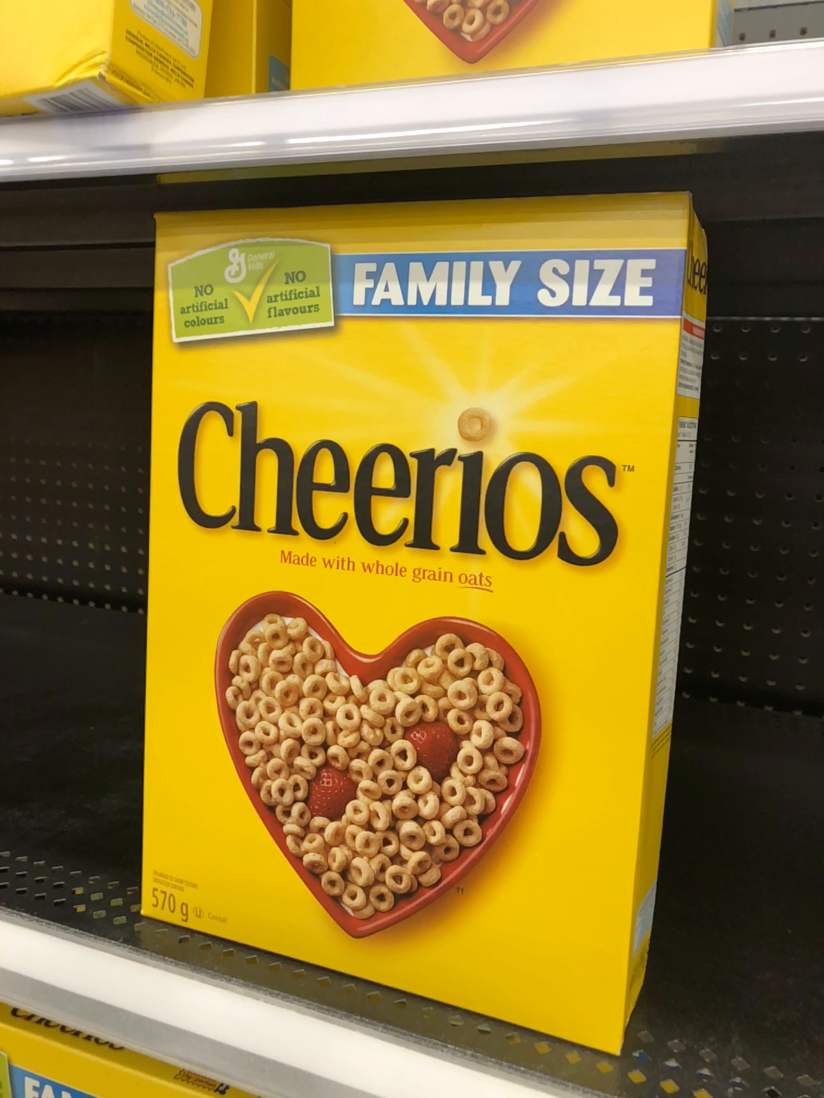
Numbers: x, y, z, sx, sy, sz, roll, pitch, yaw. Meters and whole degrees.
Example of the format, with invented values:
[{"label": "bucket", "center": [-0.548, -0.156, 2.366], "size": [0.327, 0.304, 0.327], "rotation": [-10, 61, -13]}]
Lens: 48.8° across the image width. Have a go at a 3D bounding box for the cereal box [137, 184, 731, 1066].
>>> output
[{"label": "cereal box", "center": [0.003, 0.021, 0.423], "size": [0.240, 0.339, 0.090], "rotation": [6, 9, 20]}]
